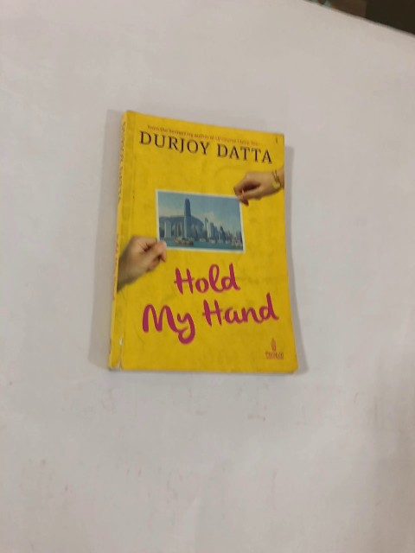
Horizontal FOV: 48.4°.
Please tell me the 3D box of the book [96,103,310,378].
[{"bbox_3d":[-0.001,-0.027,0.333,0.140,0.020,0.190,5,70,-16],"label":"book"}]
